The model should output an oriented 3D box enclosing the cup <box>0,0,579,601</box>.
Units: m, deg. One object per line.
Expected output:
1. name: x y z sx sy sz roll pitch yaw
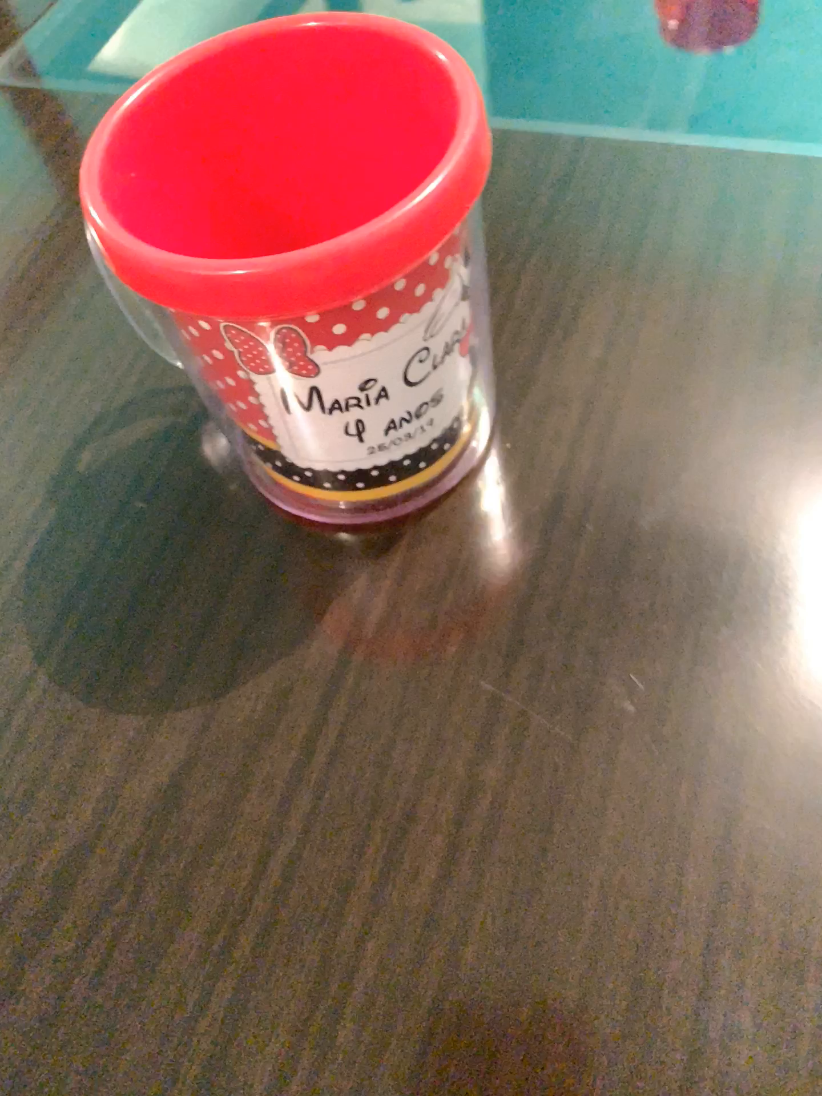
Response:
1. cup: -0.026 -0.063 0.230 0.120 0.110 0.090 12 62 16
